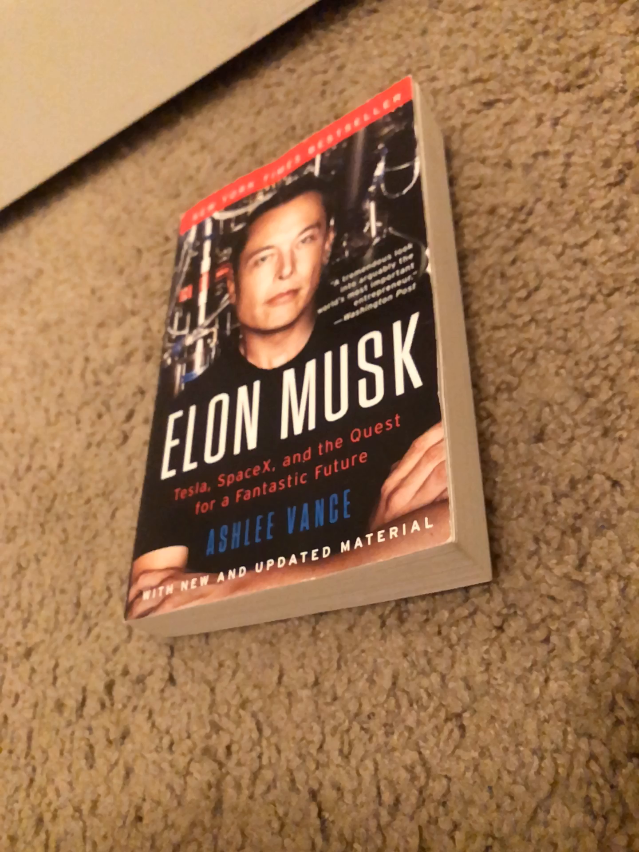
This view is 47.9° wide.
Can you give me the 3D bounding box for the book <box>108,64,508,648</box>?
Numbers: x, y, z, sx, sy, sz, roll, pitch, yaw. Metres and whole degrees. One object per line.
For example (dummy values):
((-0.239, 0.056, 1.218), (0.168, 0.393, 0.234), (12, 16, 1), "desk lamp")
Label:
((-0.009, -0.029, 0.281), (0.136, 0.033, 0.203), (-20, 54, 32), "book")
